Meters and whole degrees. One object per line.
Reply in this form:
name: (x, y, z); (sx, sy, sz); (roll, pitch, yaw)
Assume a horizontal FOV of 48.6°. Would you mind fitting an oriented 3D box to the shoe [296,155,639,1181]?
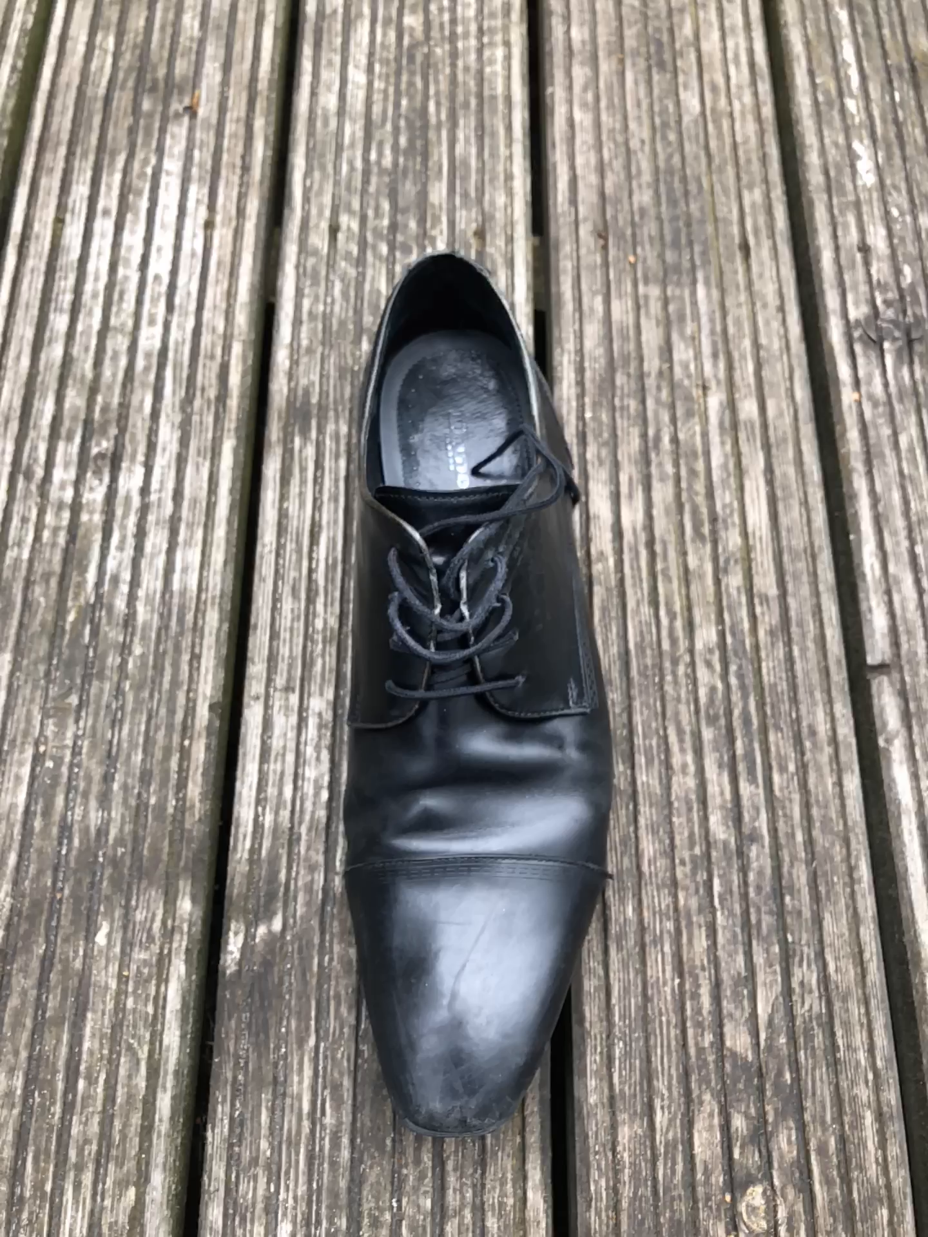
shoe: (-0.005, 0.011, 0.399); (0.090, 0.150, 0.341); (-1, 70, -2)
